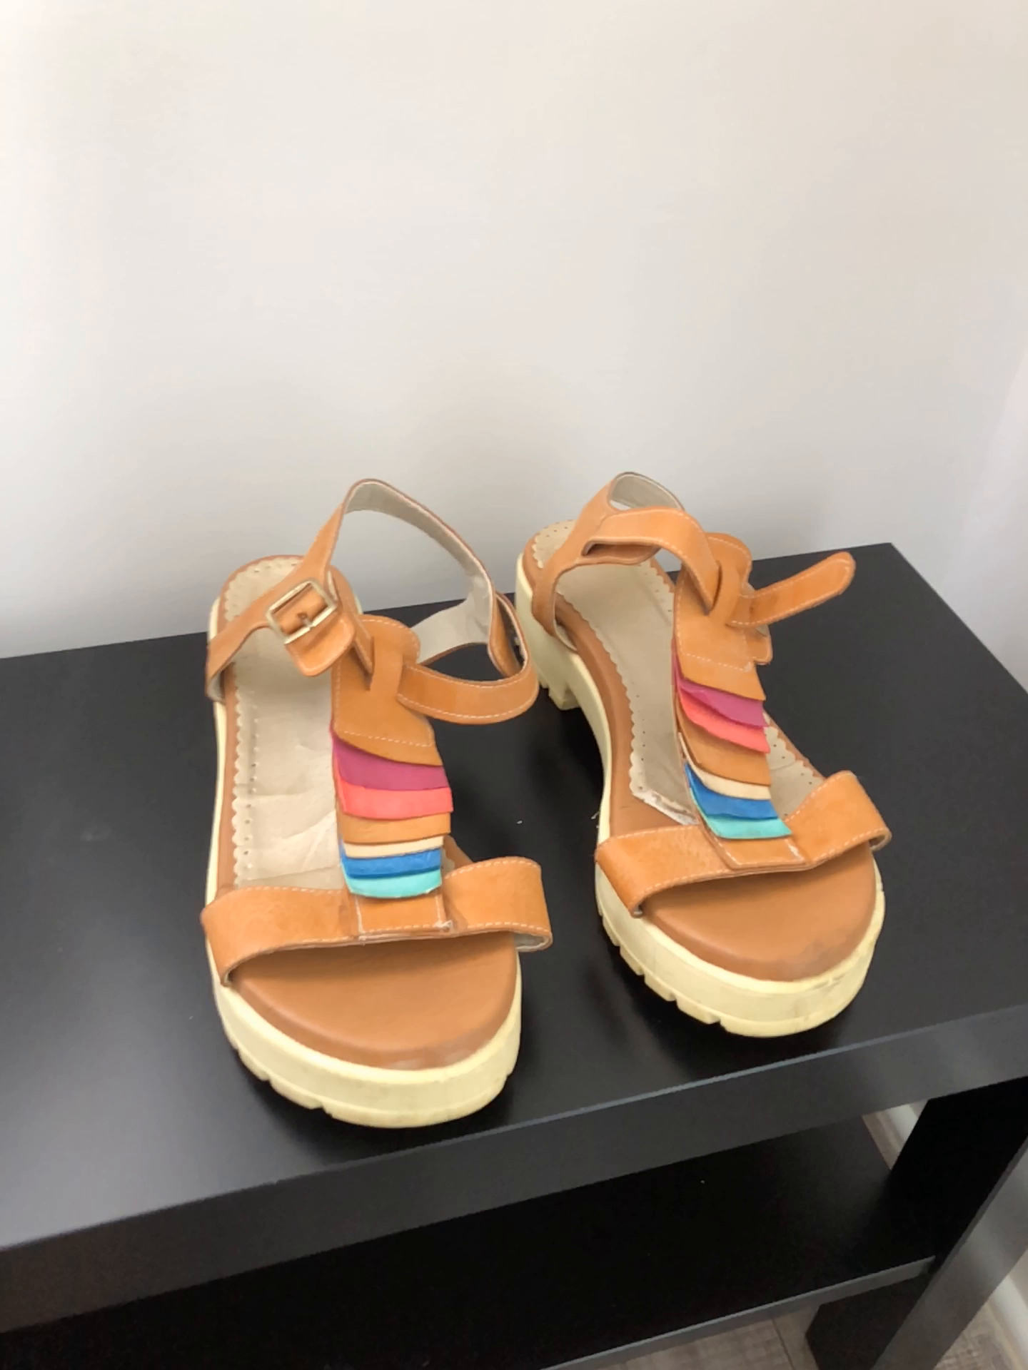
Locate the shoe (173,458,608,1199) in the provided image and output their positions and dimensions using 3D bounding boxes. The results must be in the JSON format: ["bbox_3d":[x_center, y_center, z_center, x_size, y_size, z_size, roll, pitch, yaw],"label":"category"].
[{"bbox_3d":[-0.056,0.025,0.386,0.100,0.083,0.248,-7,42,-12],"label":"shoe"}]

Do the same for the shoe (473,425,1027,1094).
[{"bbox_3d":[0.061,0.004,0.404,0.100,0.077,0.248,-7,42,-12],"label":"shoe"}]
